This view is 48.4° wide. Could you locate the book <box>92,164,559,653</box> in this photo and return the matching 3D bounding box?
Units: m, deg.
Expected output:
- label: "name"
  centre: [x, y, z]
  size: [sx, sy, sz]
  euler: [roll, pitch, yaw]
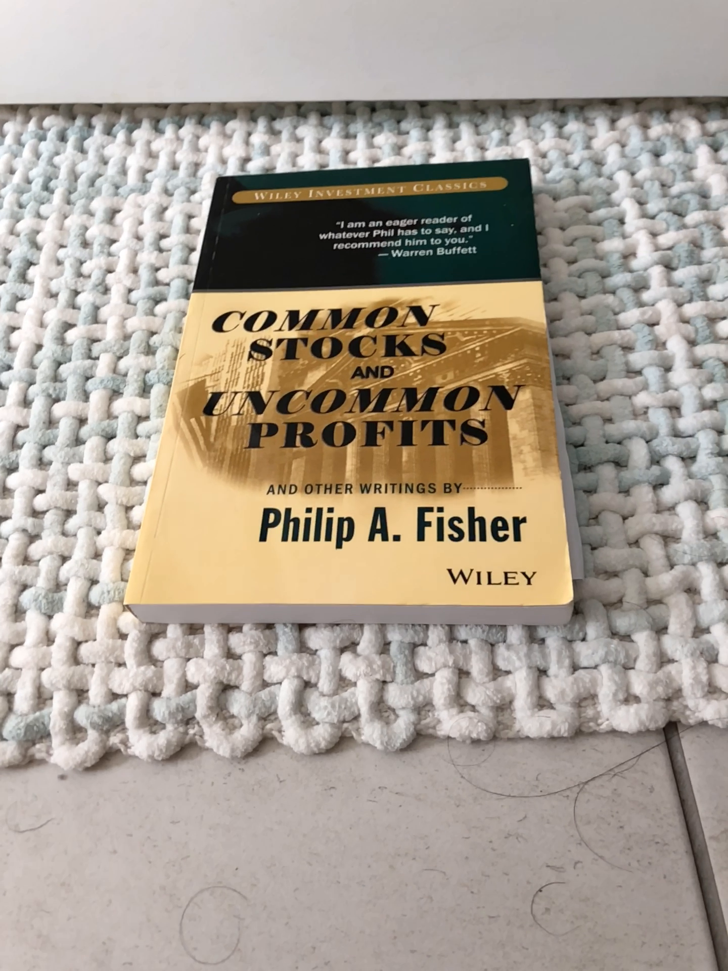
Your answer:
- label: "book"
  centre: [-0.009, -0.049, 0.362]
  size: [0.166, 0.026, 0.247]
  euler: [-1, 58, 6]
